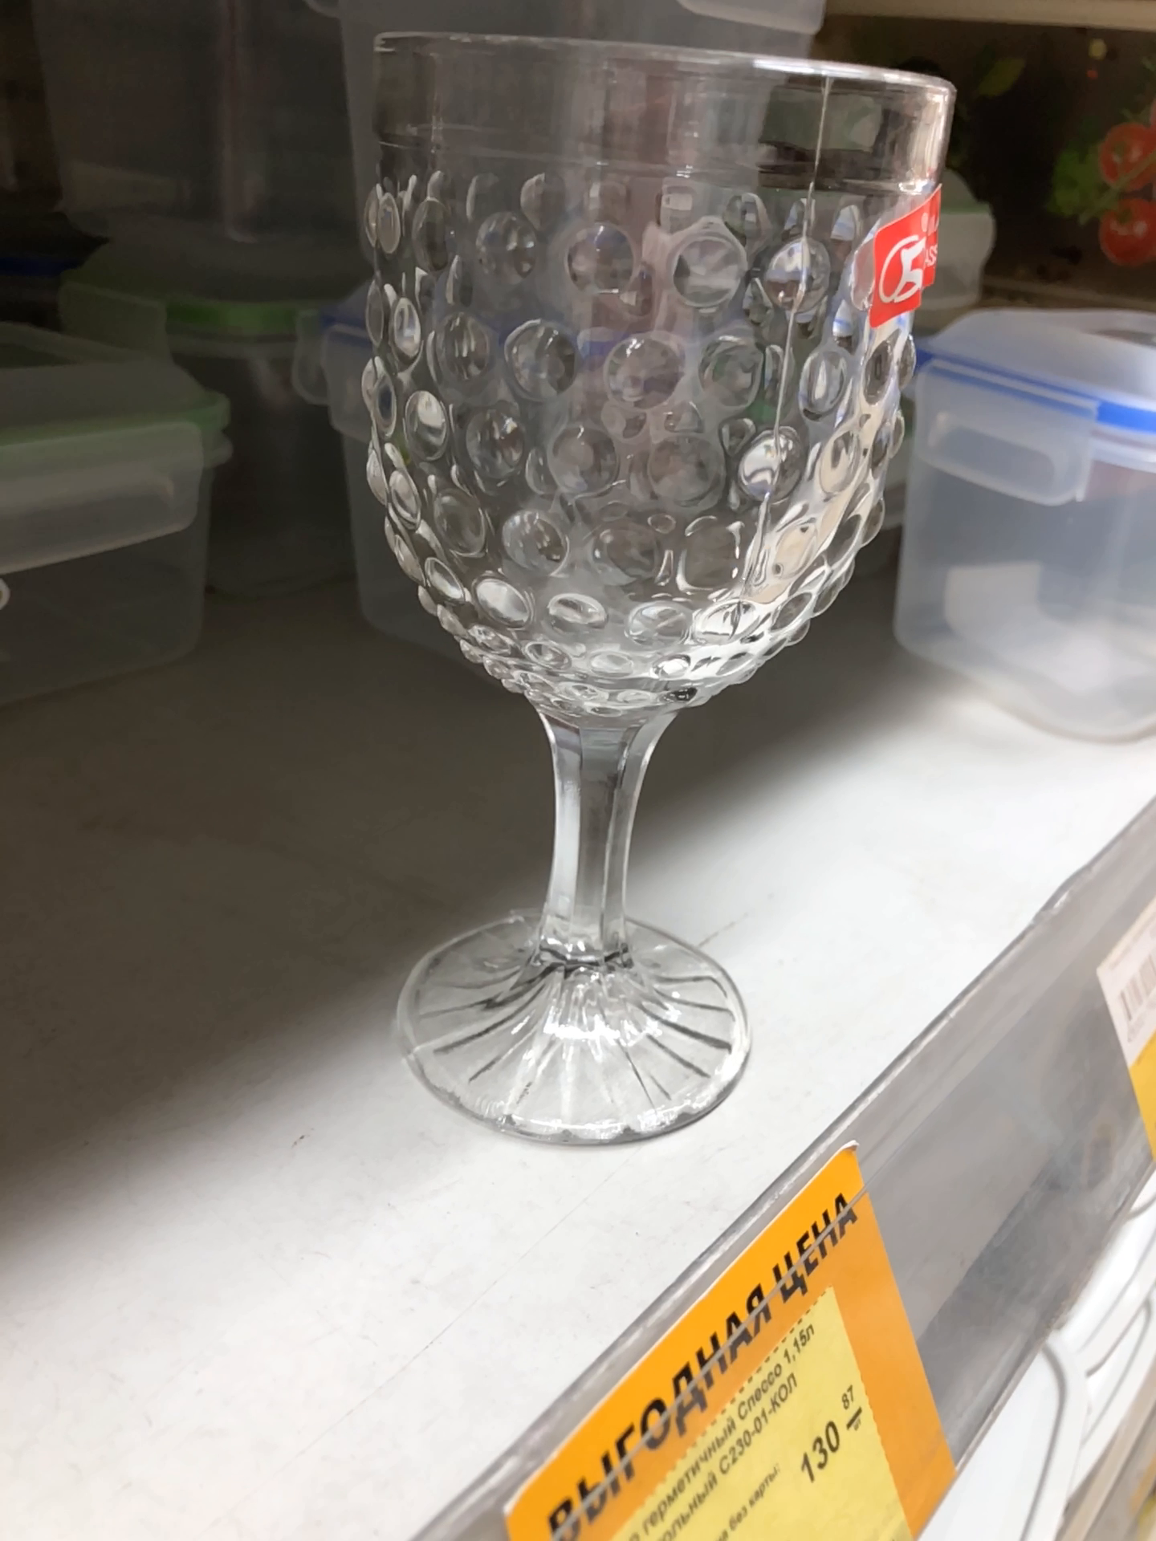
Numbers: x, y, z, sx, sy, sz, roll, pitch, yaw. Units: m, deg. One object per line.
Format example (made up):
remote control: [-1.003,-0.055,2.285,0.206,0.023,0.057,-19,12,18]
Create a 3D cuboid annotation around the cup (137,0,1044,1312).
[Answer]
cup: [-0.001,-0.022,0.201,0.086,0.160,0.081,3,25,-2]
